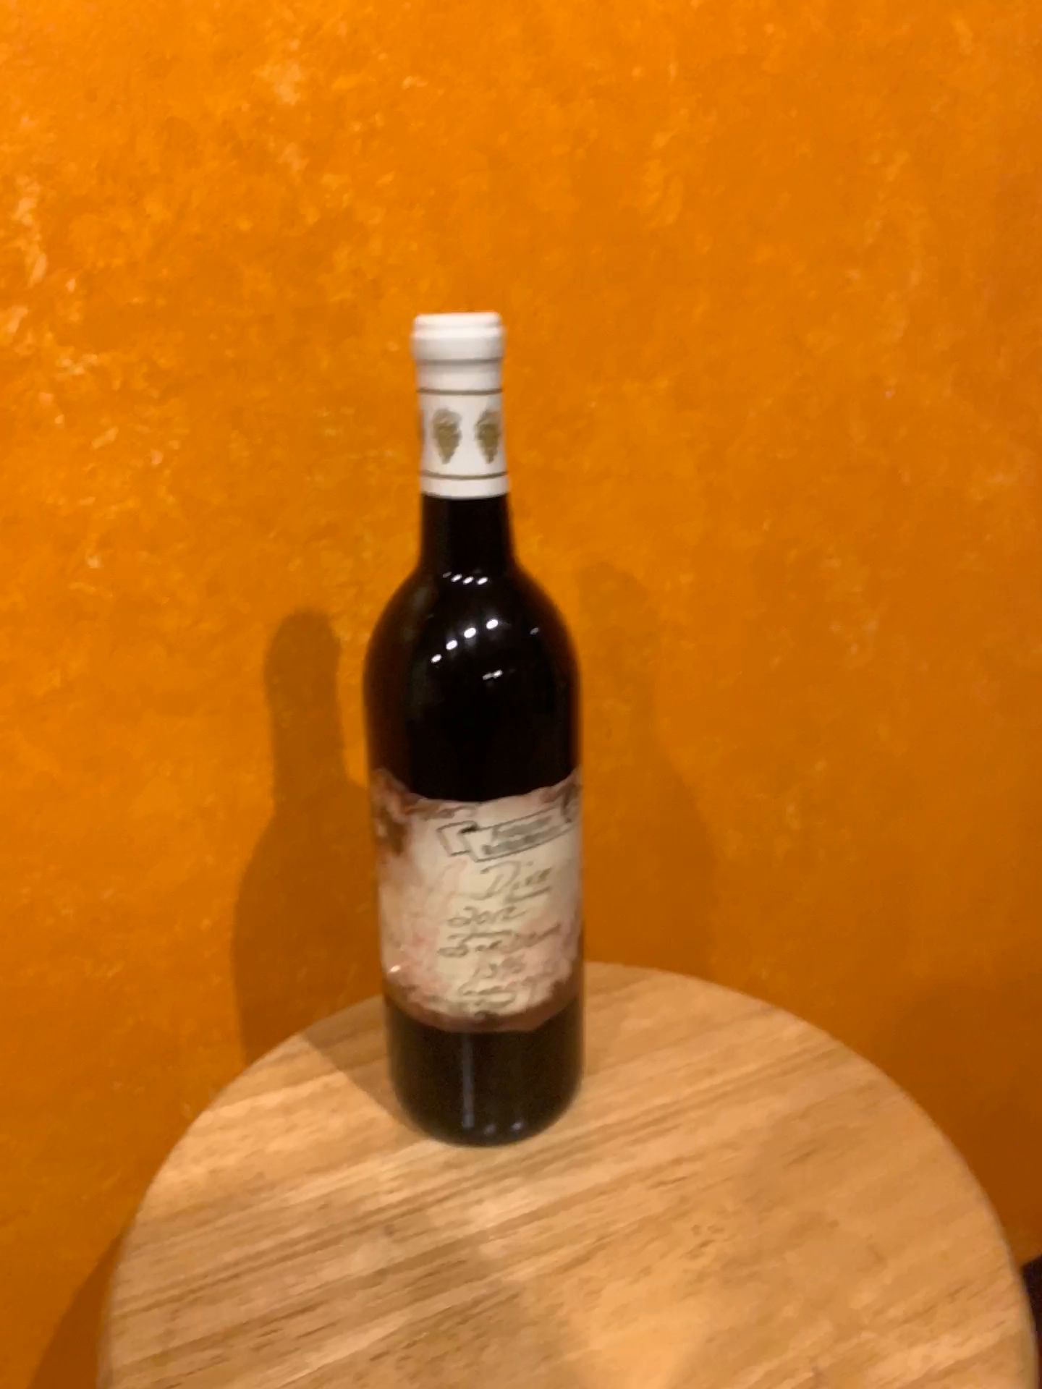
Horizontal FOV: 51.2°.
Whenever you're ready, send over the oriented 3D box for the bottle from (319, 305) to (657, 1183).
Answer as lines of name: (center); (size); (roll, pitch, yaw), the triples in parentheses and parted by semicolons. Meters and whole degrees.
bottle: (-0.011, 0.020, 0.378); (0.080, 0.289, 0.070); (-10, 23, -23)
